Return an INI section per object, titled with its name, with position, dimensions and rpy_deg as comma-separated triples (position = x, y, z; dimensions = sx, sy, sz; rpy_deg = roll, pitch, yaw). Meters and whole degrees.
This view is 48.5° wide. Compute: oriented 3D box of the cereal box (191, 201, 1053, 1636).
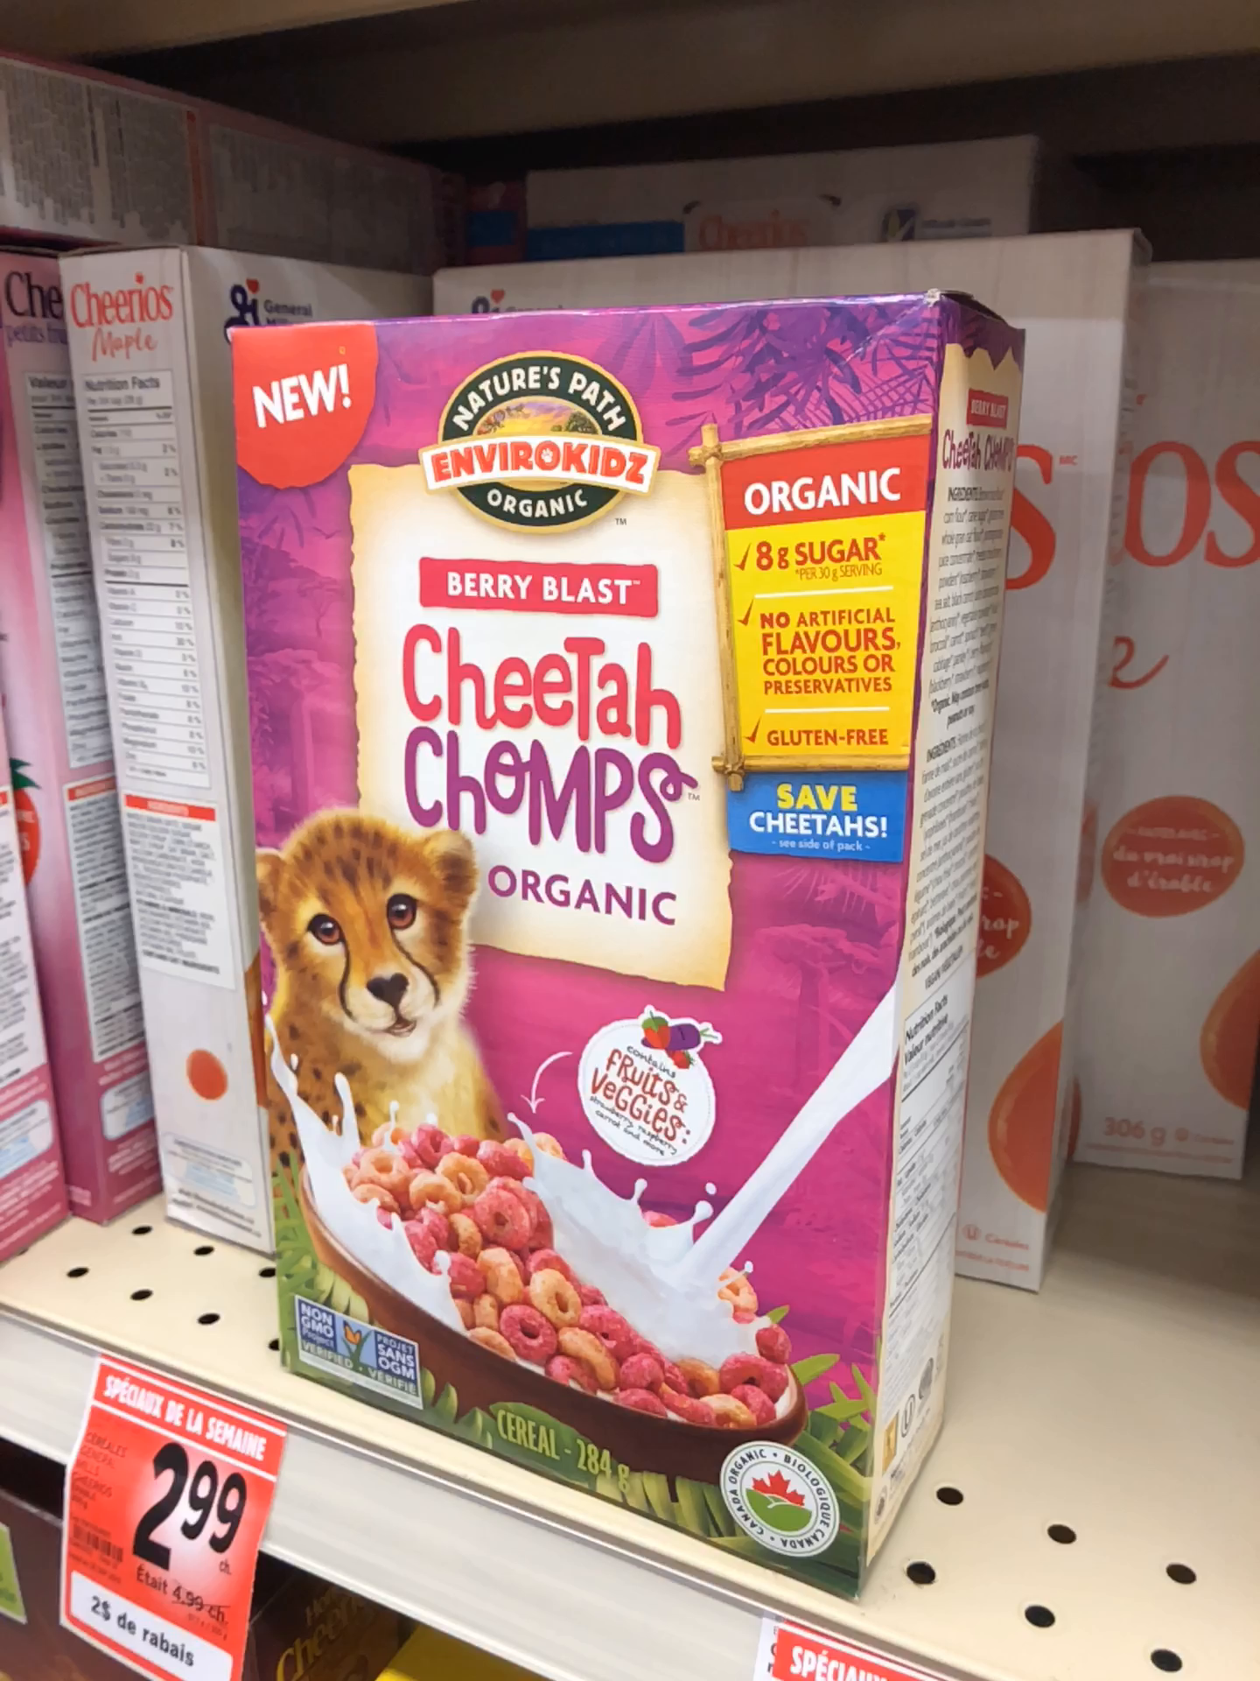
[cereal box]
position = -0.007, 0.011, 0.311
dimensions = 0.160, 0.259, 0.070
rpy_deg = 8, 15, 29
